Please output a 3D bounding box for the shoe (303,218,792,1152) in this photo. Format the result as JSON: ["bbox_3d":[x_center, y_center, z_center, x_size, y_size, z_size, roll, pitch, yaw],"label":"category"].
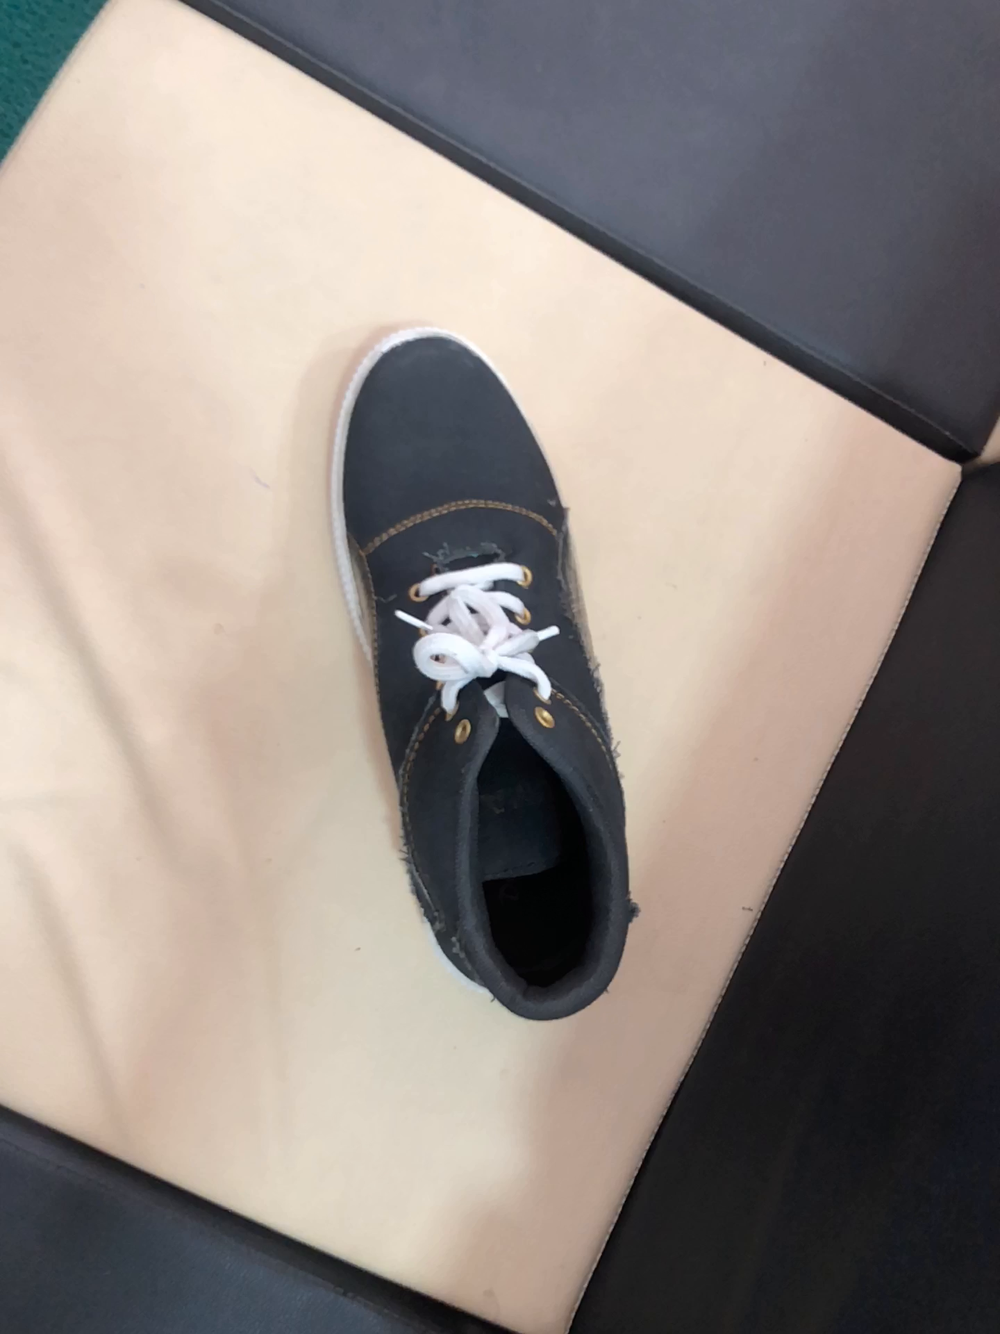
[{"bbox_3d":[0.008,0.004,0.427,0.100,0.110,0.300,-13,89,-10],"label":"shoe"}]
